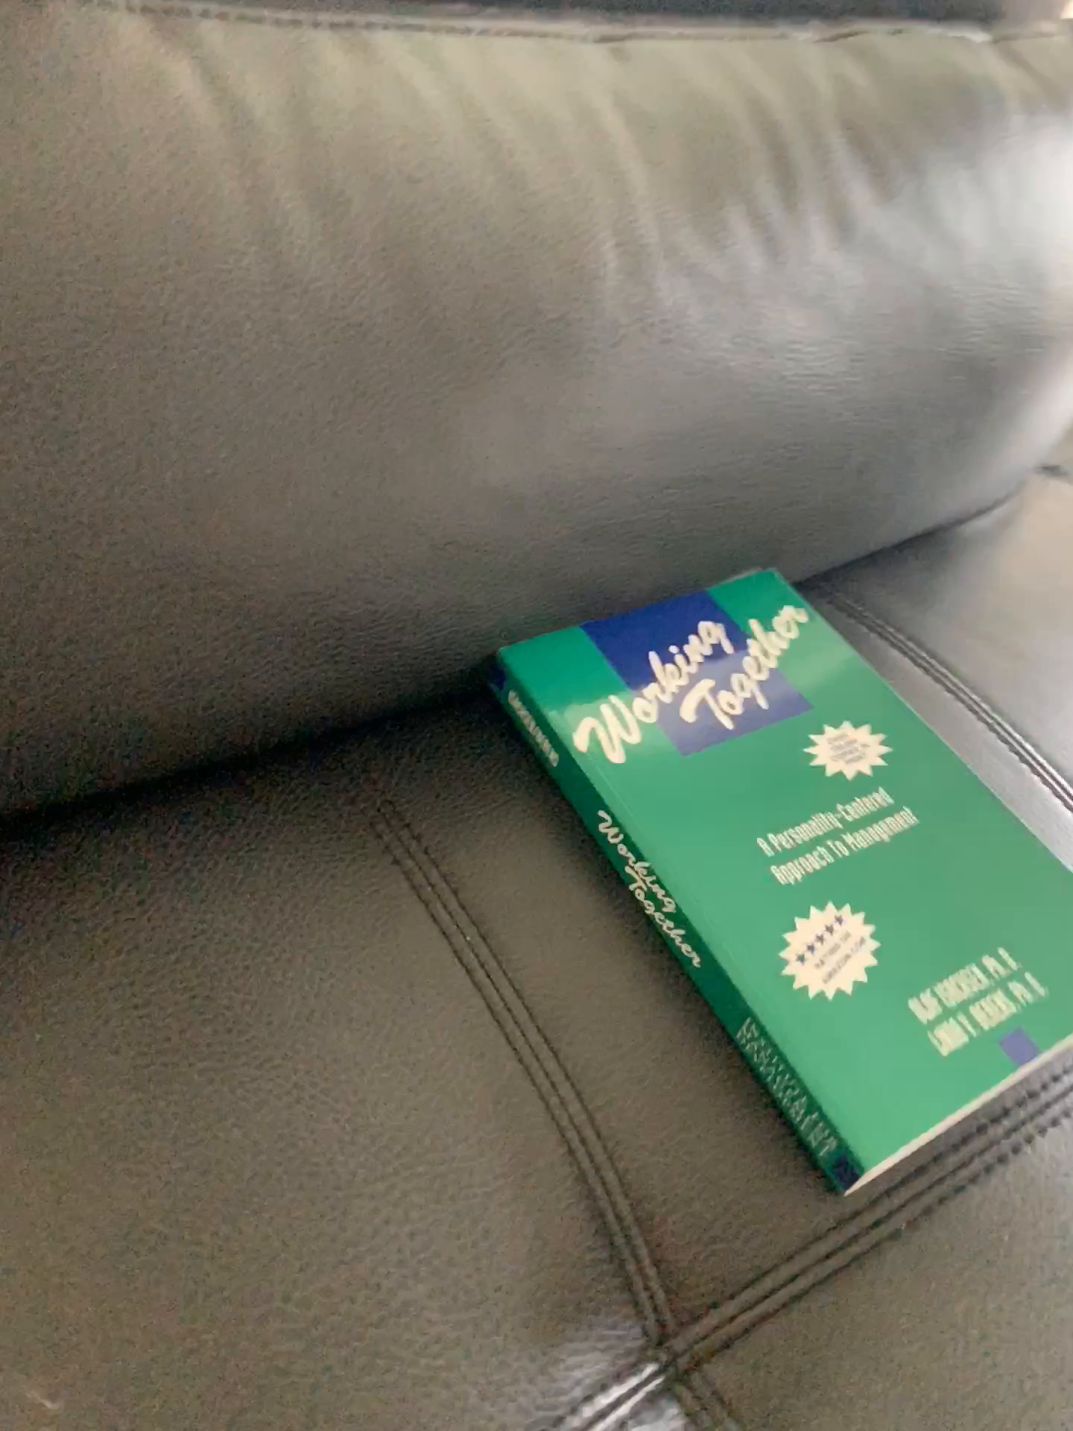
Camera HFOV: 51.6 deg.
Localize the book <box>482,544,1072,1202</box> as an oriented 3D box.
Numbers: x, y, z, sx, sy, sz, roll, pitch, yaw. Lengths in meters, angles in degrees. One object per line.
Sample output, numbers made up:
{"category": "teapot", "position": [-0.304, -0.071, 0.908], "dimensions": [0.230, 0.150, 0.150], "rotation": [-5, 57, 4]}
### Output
{"category": "book", "position": [0.094, 0.033, 0.393], "dimensions": [0.138, 0.033, 0.217], "rotation": [-16, 55, -29]}
